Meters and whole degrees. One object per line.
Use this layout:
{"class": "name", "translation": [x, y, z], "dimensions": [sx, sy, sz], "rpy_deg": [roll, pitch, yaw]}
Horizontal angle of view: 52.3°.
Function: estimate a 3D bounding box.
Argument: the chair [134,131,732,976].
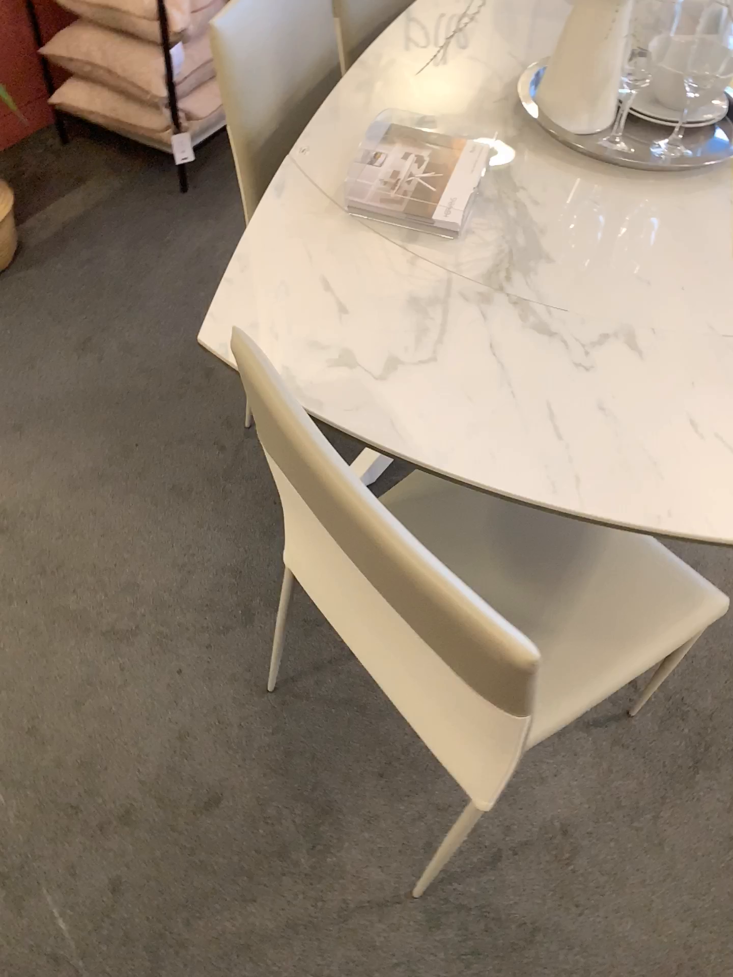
{"class": "chair", "translation": [0.166, 0.133, 0.969], "dimensions": [0.583, 0.824, 0.534], "rpy_deg": [-31, 61, -25]}
